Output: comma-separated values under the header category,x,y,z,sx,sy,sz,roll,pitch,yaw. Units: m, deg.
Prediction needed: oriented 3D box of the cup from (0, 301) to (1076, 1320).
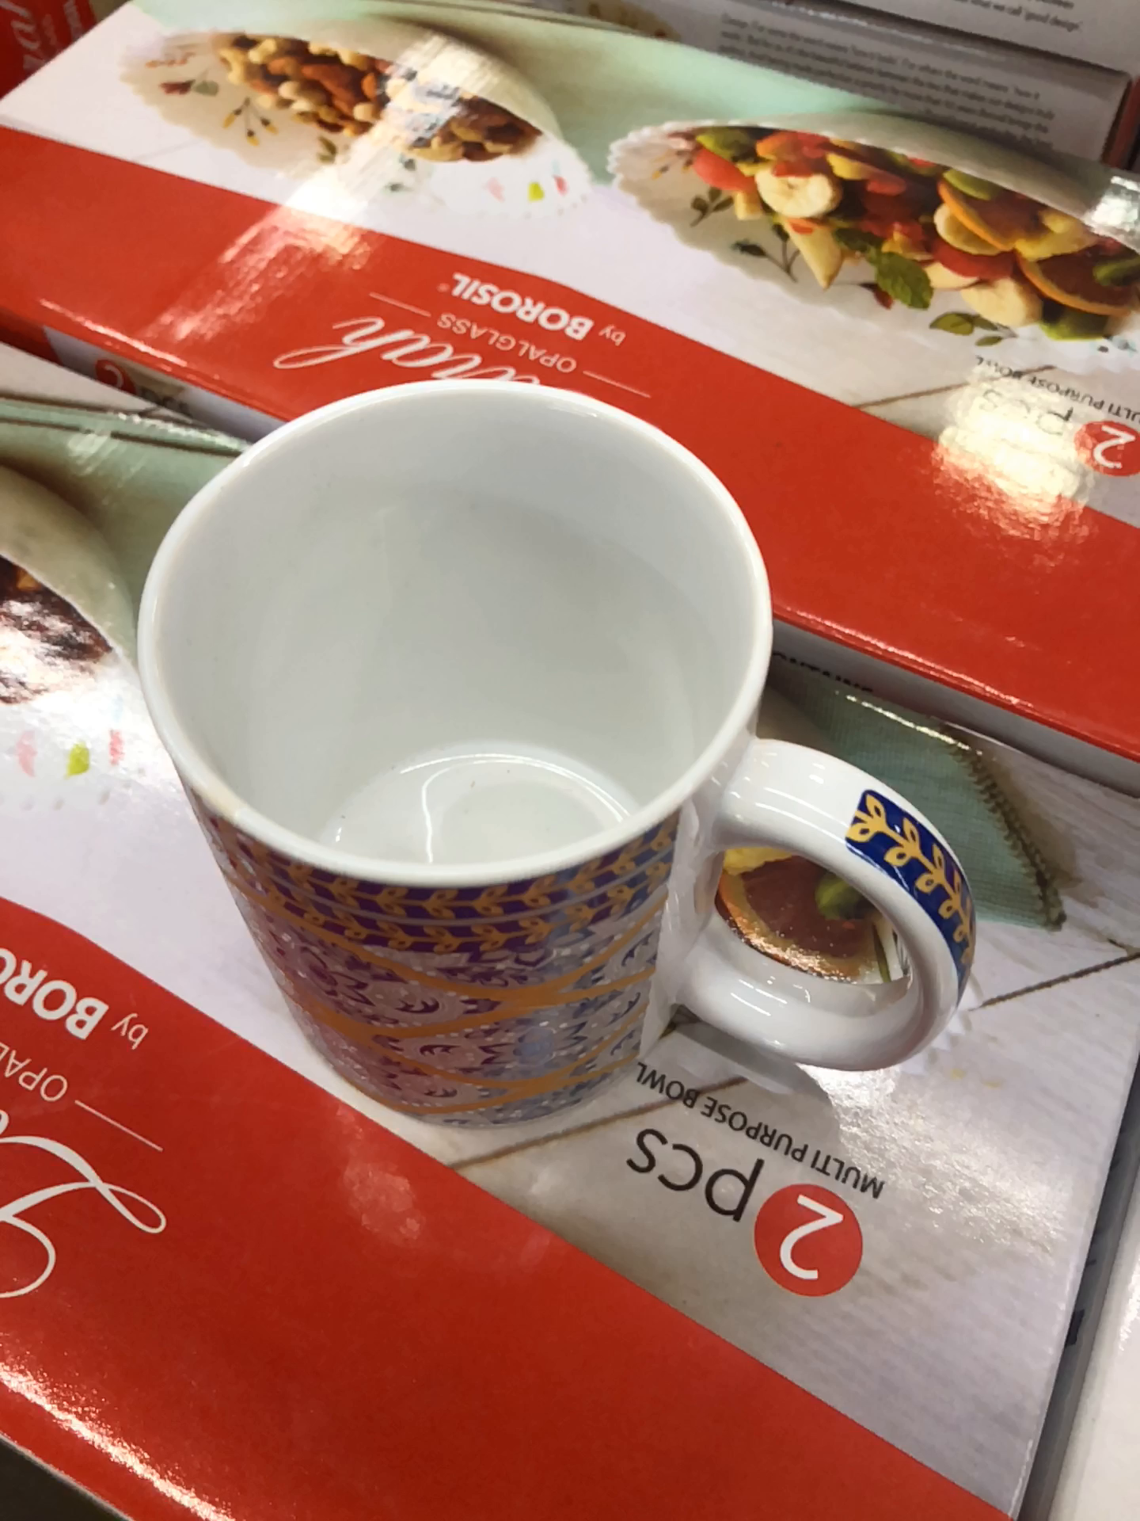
category,x,y,z,sx,sy,sz,roll,pitch,yaw
cup,-0.004,0.012,0.186,0.110,0.099,0.080,17,57,9
